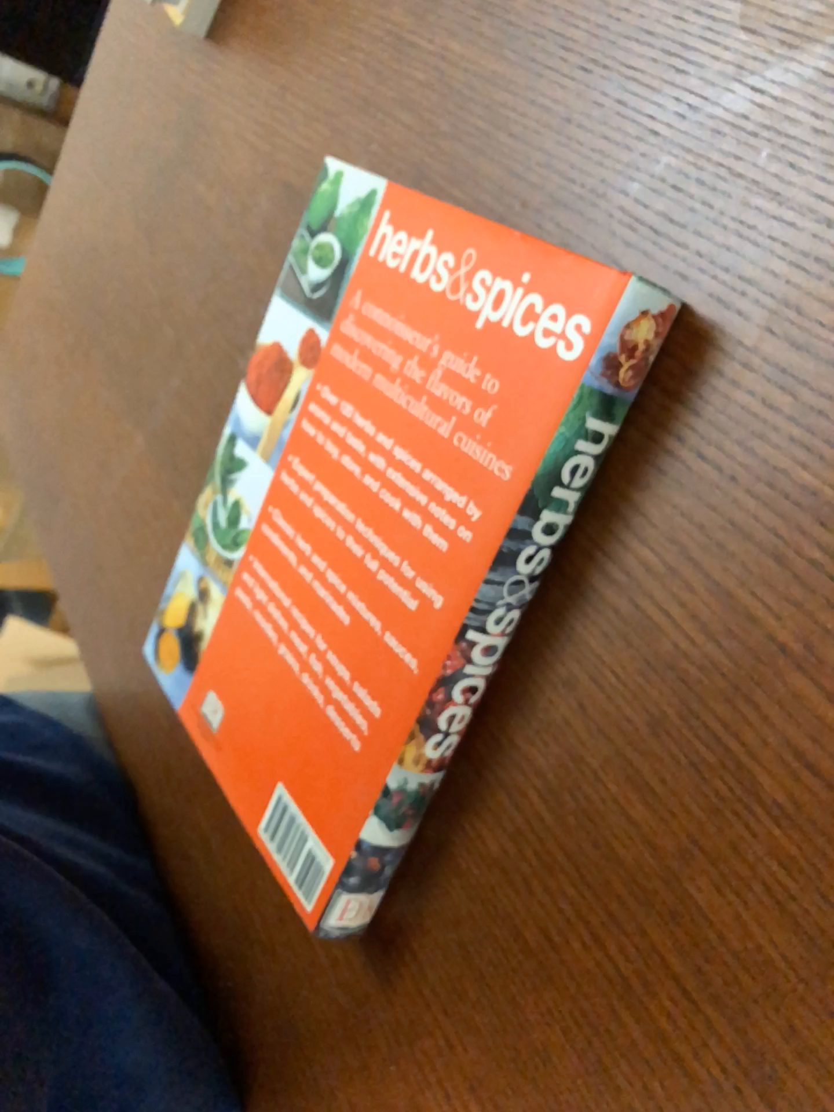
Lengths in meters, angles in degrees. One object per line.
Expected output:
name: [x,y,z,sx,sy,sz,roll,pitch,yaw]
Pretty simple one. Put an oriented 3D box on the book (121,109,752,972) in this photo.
book: [-0.027,-0.018,0.376,0.211,0.040,0.270,44,116,44]
